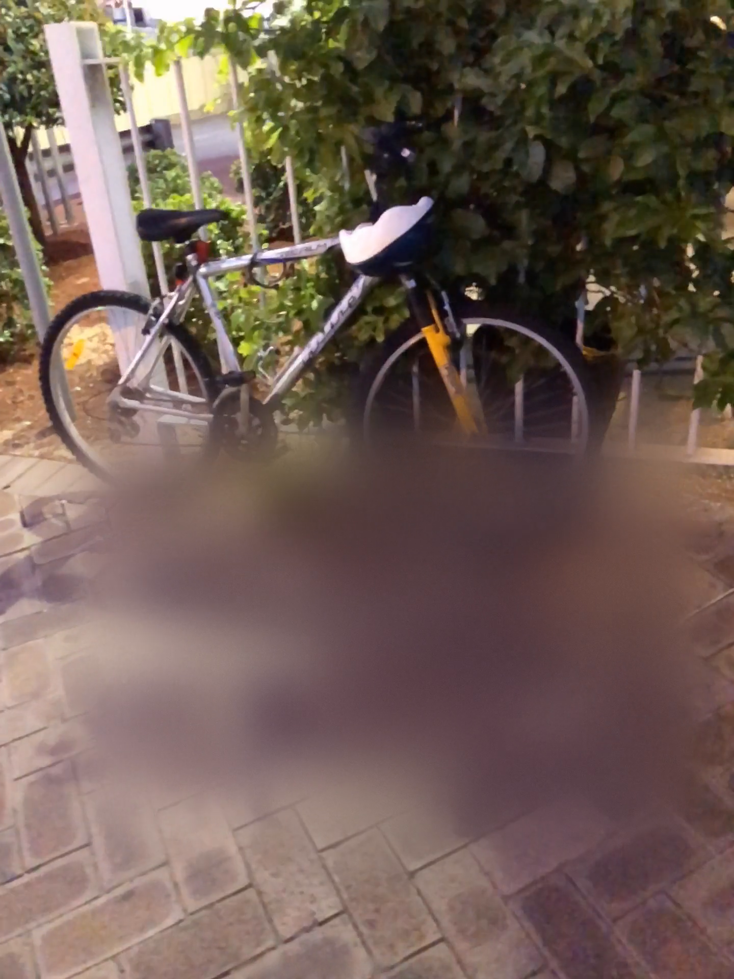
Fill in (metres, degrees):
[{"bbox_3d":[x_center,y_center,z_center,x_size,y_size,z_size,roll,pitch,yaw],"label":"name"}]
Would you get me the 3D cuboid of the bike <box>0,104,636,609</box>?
[{"bbox_3d":[-0.228,-0.381,2.104,1.694,0.995,0.554,6,29,19],"label":"bike"}]
